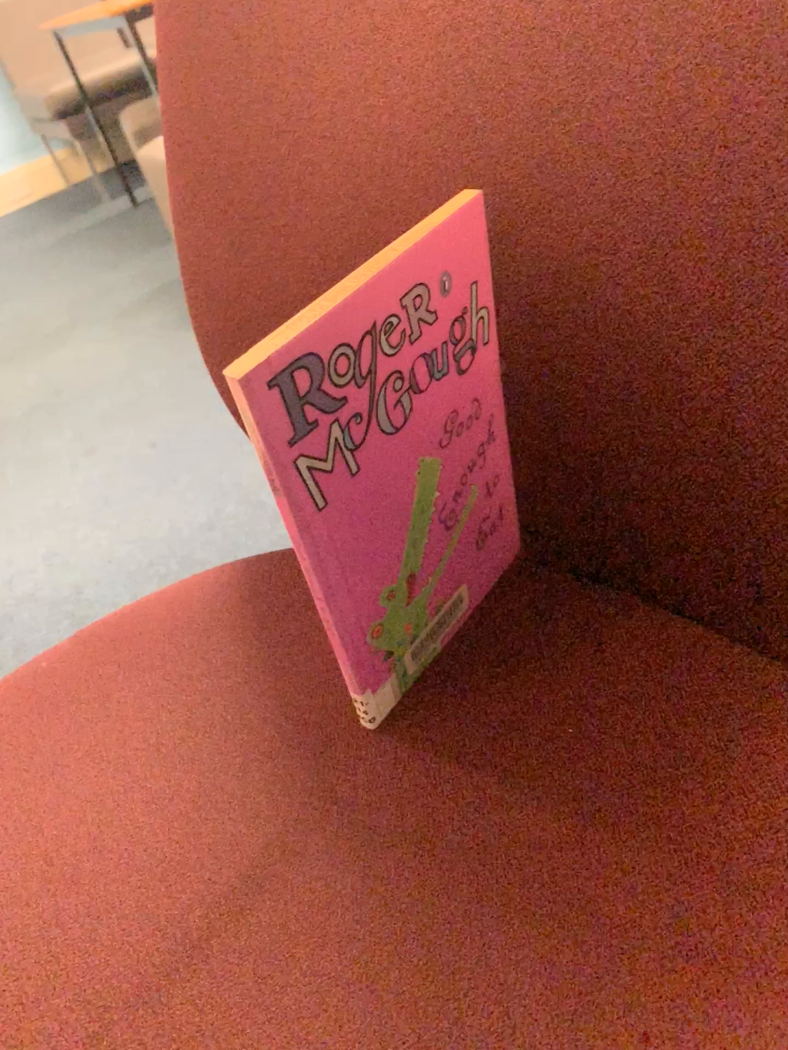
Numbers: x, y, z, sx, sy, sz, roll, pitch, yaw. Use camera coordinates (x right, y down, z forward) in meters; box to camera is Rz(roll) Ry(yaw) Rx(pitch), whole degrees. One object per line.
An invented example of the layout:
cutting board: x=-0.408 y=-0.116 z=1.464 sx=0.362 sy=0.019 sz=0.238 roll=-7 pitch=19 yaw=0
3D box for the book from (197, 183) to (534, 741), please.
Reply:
book: x=0.007 y=-0.019 z=0.338 sx=0.017 sy=0.189 sz=0.141 roll=23 pitch=53 yaw=34
